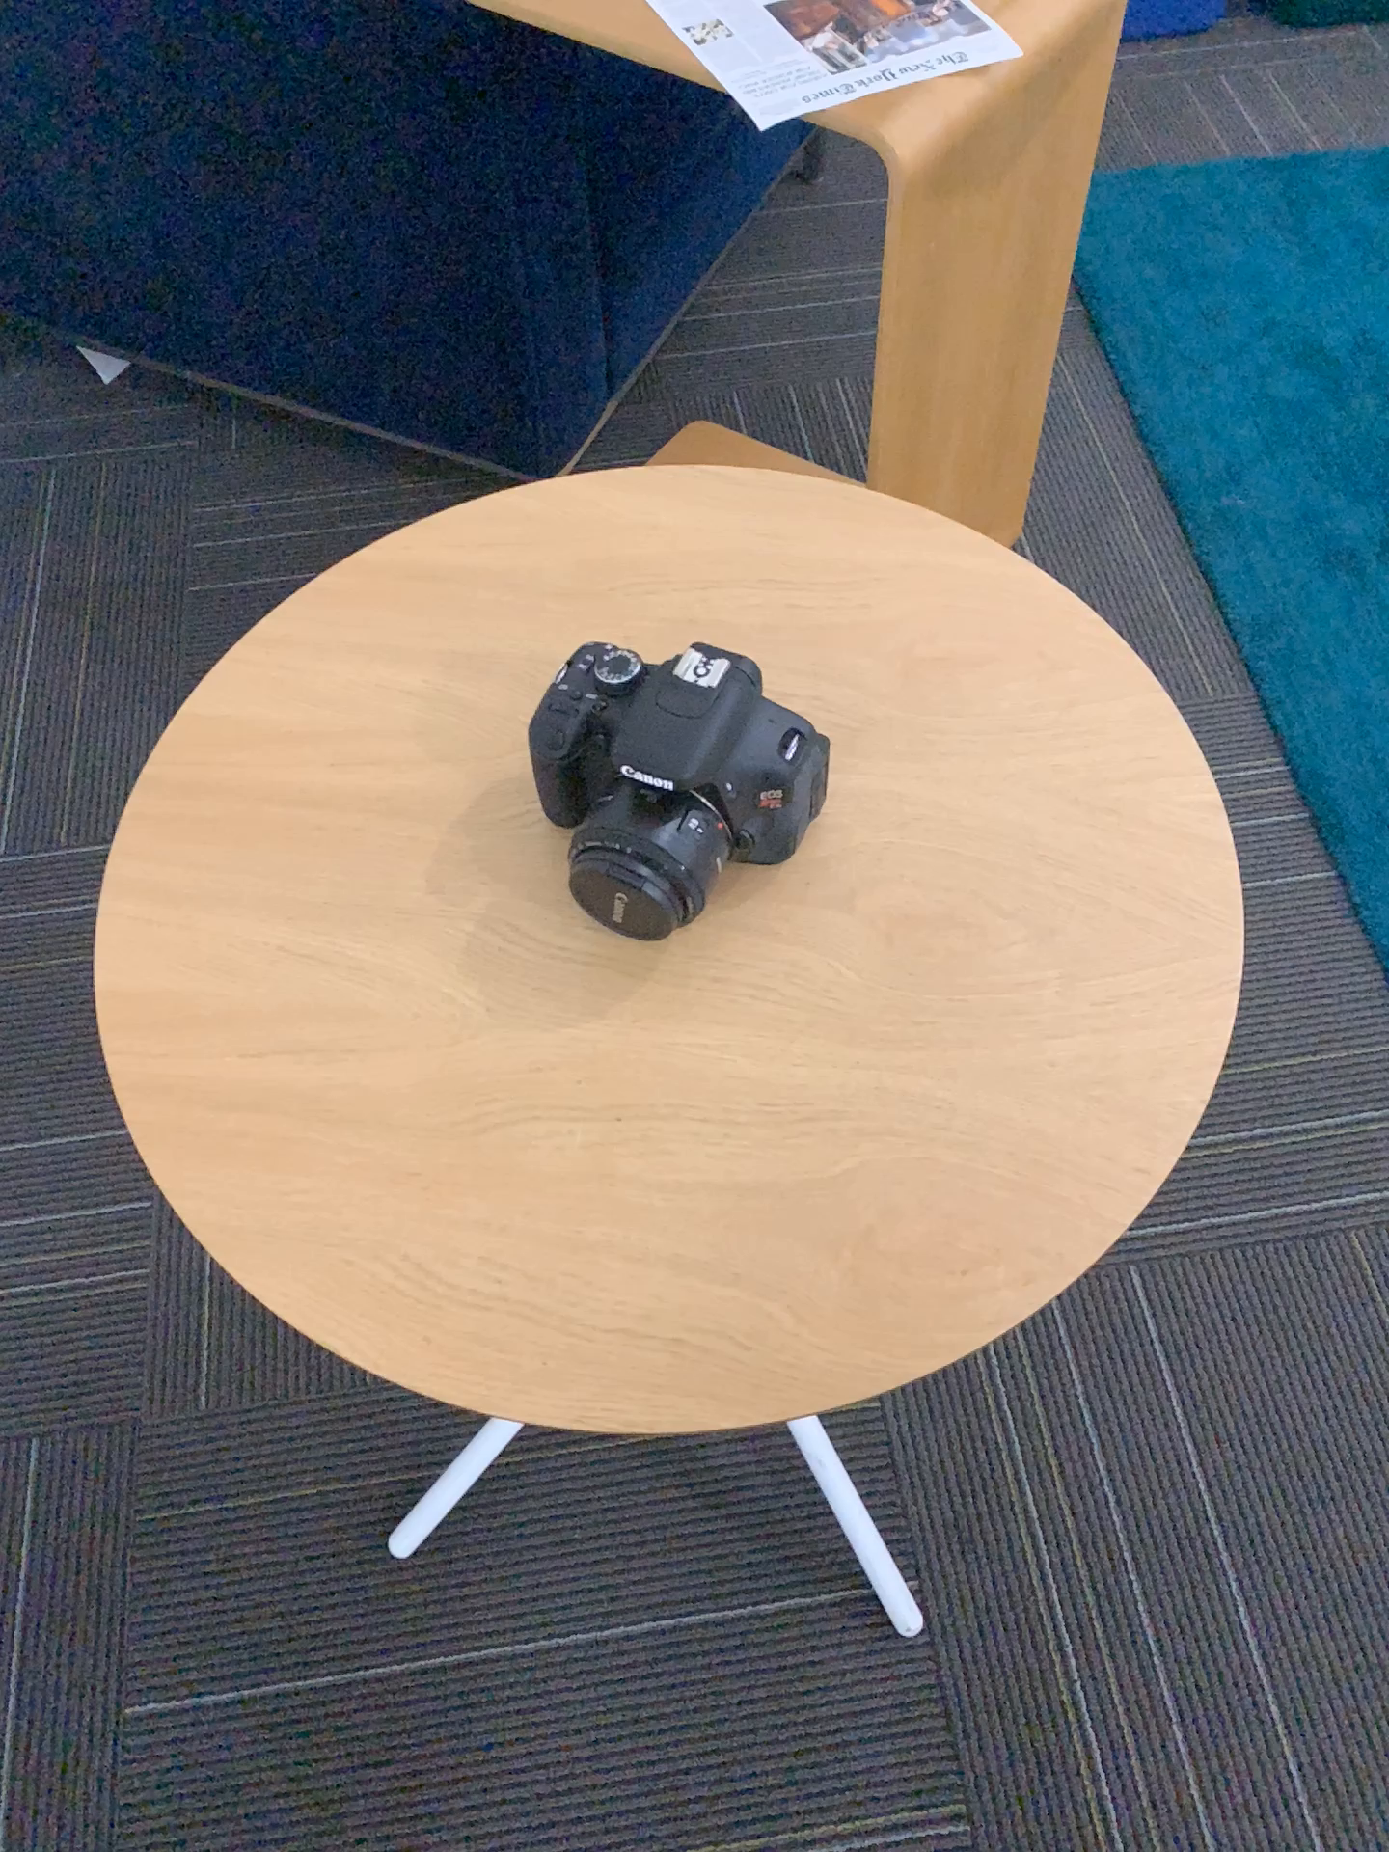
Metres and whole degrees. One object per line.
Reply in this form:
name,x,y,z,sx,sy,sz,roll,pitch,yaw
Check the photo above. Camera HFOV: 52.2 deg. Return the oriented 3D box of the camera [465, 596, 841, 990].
camera,-0.015,-0.061,0.636,0.120,0.080,0.125,19,60,13
